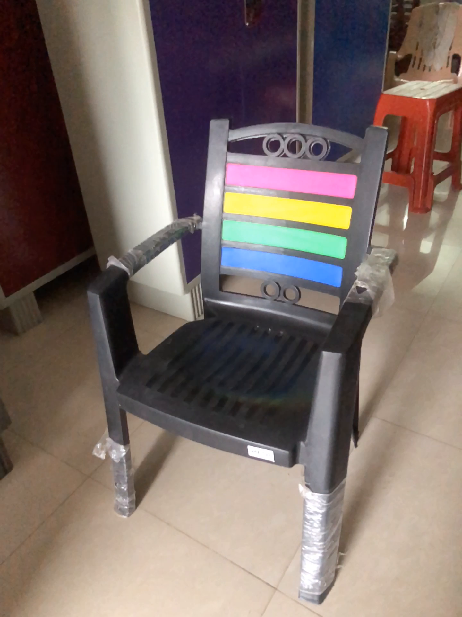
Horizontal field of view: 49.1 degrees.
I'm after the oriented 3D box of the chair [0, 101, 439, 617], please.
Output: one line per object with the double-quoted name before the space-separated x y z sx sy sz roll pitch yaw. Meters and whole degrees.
"chair" 0.042 0.091 1.242 0.640 0.975 0.613 14 38 26
